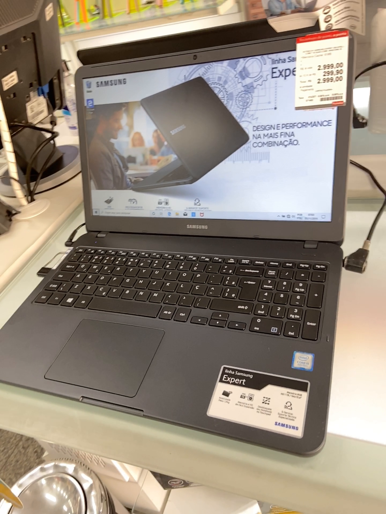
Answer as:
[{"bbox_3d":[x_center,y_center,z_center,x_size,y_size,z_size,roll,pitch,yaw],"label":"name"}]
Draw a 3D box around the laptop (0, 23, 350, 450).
[{"bbox_3d":[-0.039,-0.061,0.437,0.371,0.200,0.370,3,43,23],"label":"laptop"}]
